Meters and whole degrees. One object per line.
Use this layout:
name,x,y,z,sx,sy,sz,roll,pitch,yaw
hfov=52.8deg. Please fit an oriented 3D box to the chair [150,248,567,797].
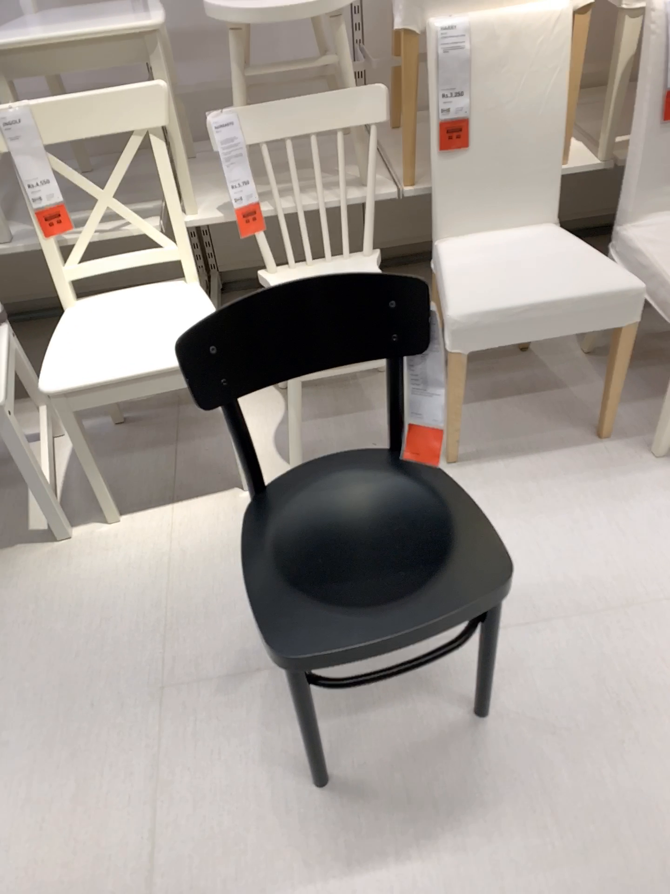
chair,0.026,0.153,1.188,0.430,0.767,0.472,-17,44,-12
